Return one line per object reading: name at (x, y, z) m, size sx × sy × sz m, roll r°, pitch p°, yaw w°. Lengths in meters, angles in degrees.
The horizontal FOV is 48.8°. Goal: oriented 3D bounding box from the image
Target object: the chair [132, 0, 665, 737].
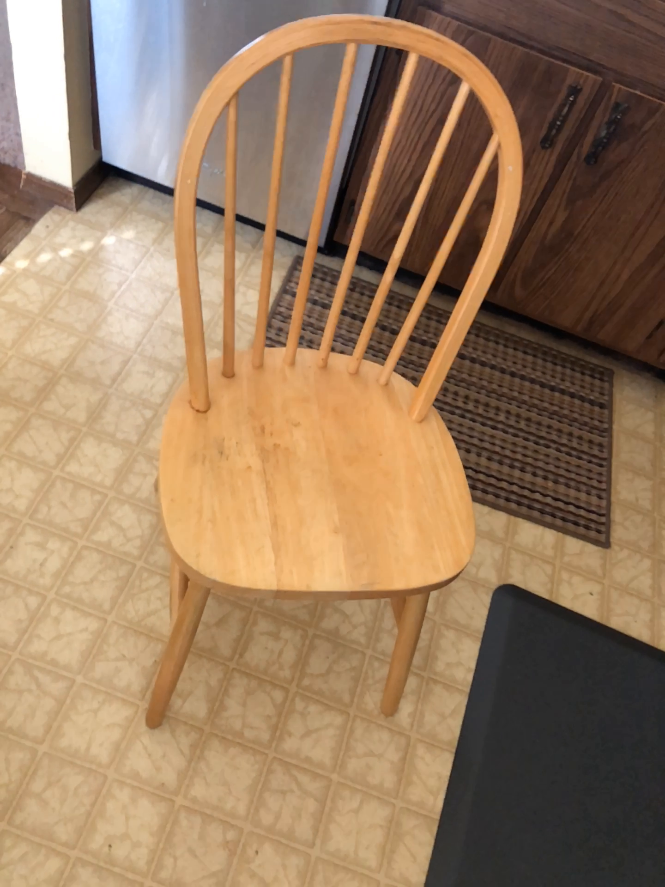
chair at (-0.018, -0.030, 0.993) m, size 0.460 × 0.899 × 0.560 m, roll 2°, pitch 54°, yaw -15°
